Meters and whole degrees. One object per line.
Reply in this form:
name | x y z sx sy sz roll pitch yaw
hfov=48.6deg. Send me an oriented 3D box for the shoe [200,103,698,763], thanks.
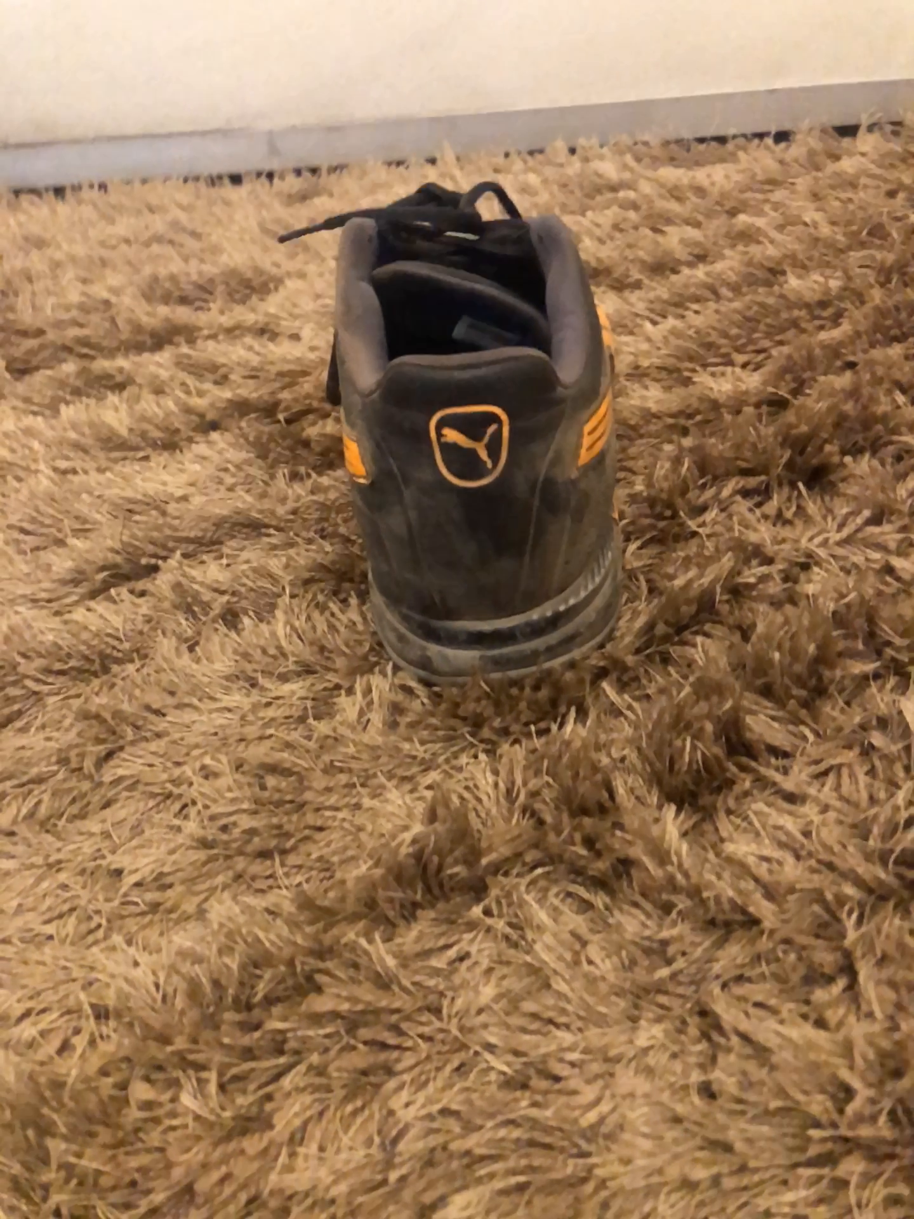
shoe | -0.003 -0.094 0.397 0.122 0.109 0.302 -2 41 1
